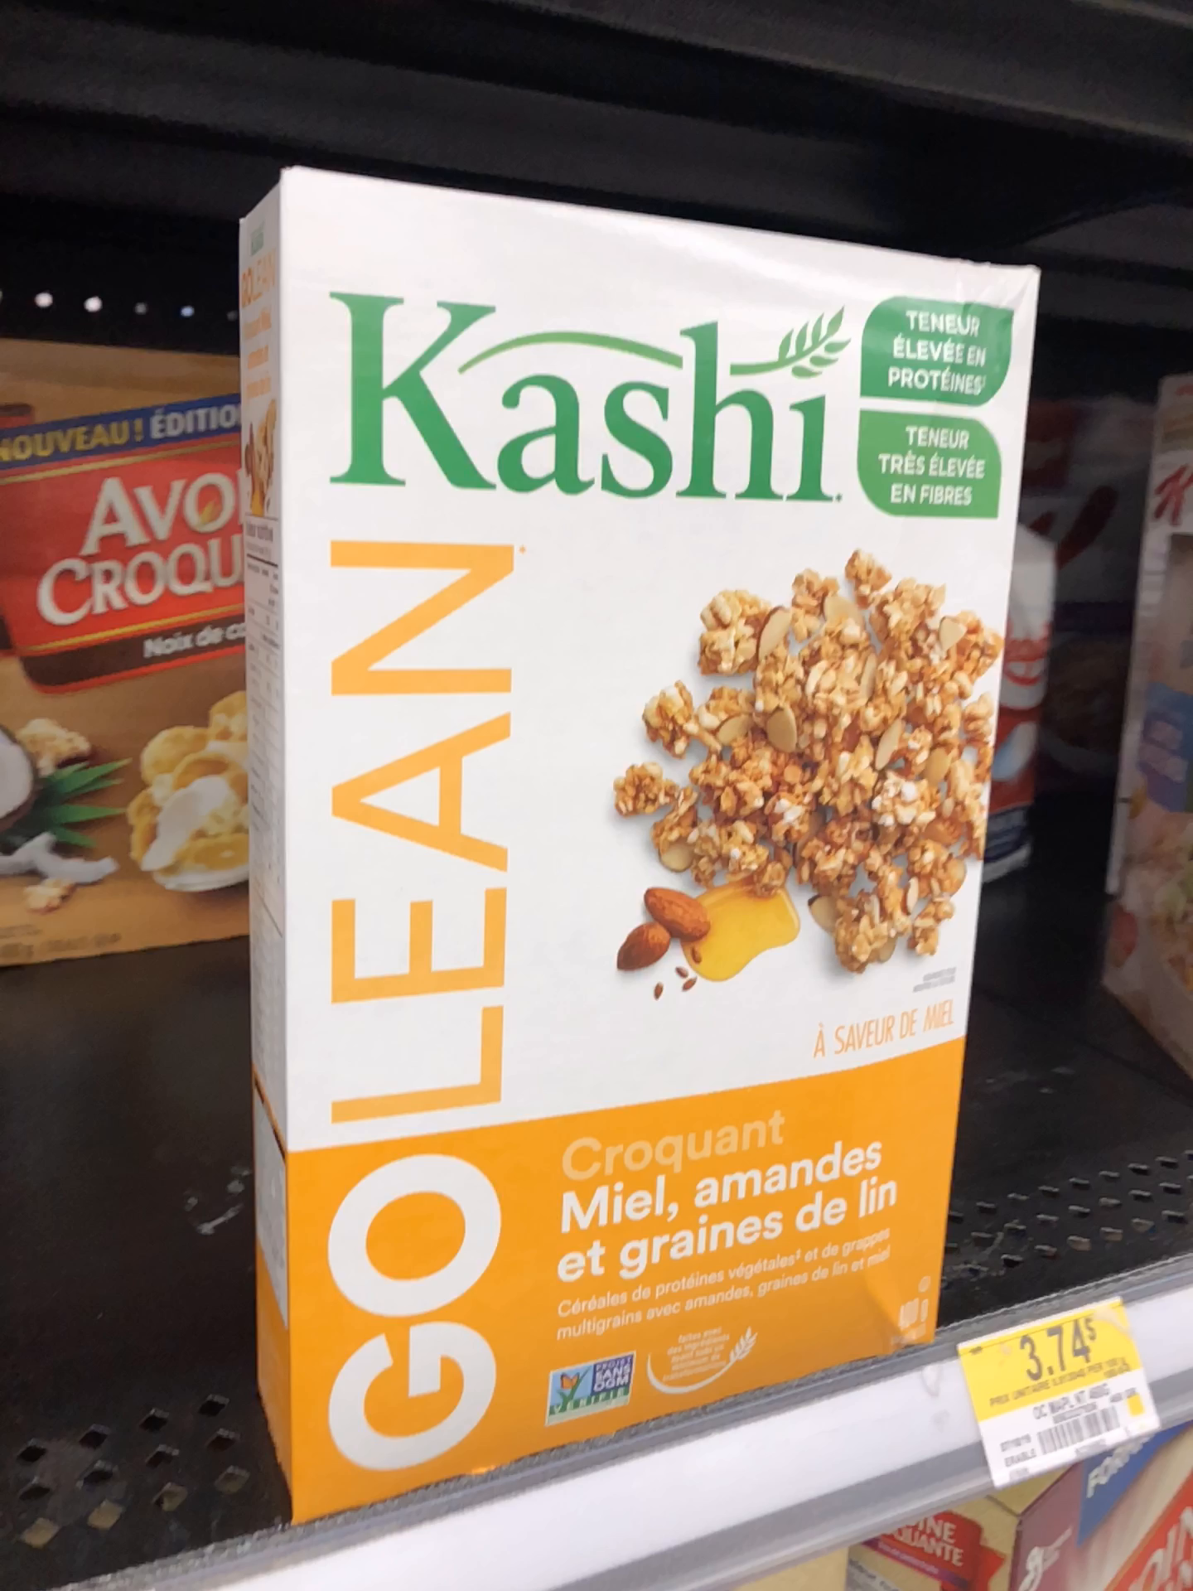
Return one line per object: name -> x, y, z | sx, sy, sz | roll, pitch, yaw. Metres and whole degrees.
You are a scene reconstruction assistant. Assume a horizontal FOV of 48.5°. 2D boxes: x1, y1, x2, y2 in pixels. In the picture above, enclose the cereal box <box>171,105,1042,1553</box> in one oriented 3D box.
cereal box -> 0.000, 0.011, 0.296 | 0.170, 0.269, 0.050 | -3, 14, -24
